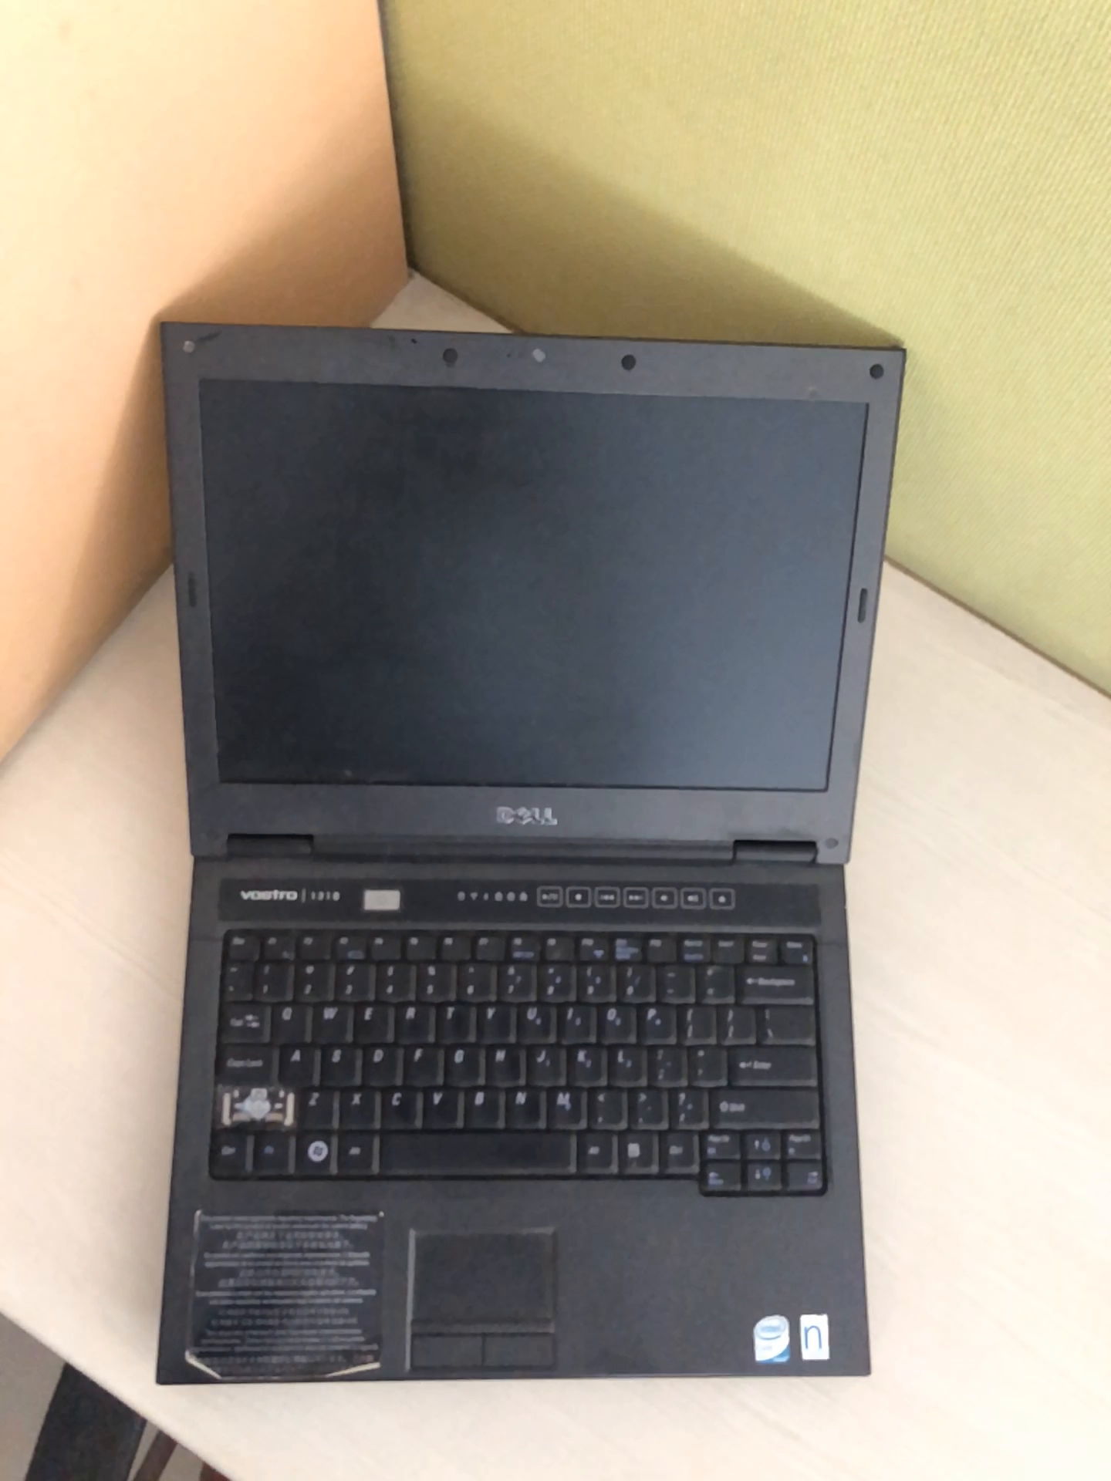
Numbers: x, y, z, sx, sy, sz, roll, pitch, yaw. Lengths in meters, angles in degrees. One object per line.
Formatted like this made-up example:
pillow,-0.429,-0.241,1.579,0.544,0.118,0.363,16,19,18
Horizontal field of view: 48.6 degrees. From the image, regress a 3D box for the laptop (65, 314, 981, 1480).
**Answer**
laptop,-0.010,0.051,0.519,0.305,0.125,0.430,1,77,-3
